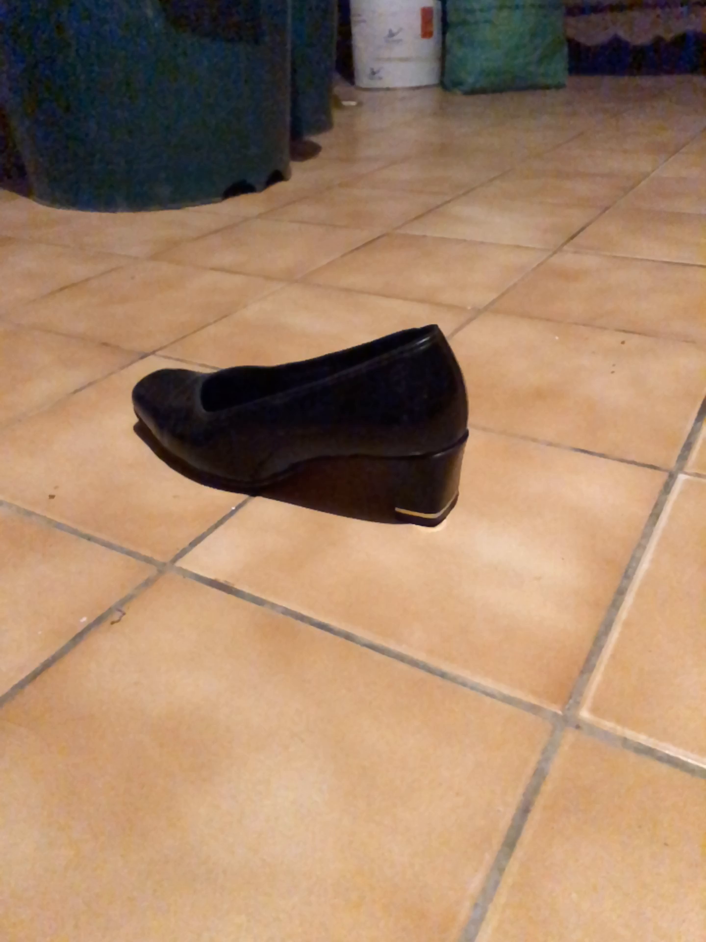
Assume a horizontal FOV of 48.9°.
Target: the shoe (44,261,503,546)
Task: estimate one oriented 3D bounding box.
[{"bbox_3d":[-0.050,-0.054,0.463,0.250,0.089,0.101,16,35,28],"label":"shoe"}]
